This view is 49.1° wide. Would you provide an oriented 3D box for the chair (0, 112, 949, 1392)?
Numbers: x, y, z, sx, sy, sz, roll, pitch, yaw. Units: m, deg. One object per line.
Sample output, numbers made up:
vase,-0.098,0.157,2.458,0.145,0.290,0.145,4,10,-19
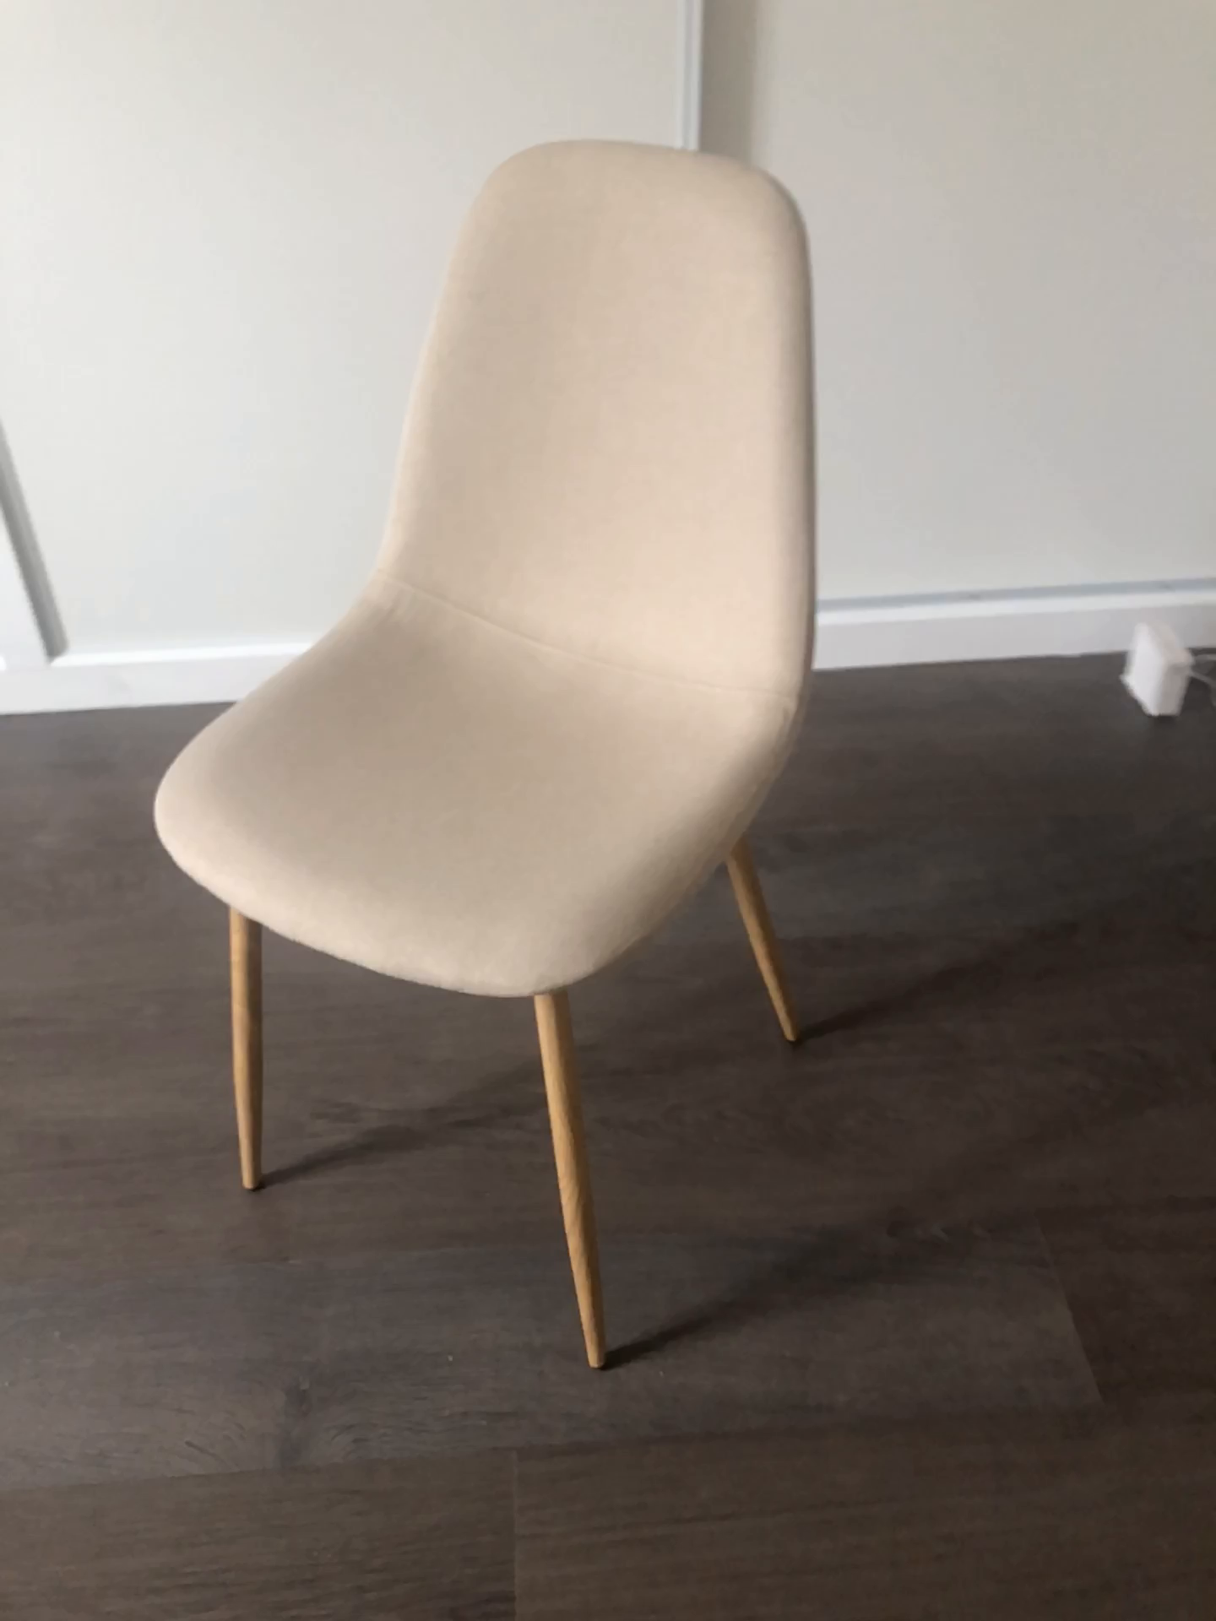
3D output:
chair,-0.071,-0.046,1.111,0.430,0.845,0.503,20,43,24
